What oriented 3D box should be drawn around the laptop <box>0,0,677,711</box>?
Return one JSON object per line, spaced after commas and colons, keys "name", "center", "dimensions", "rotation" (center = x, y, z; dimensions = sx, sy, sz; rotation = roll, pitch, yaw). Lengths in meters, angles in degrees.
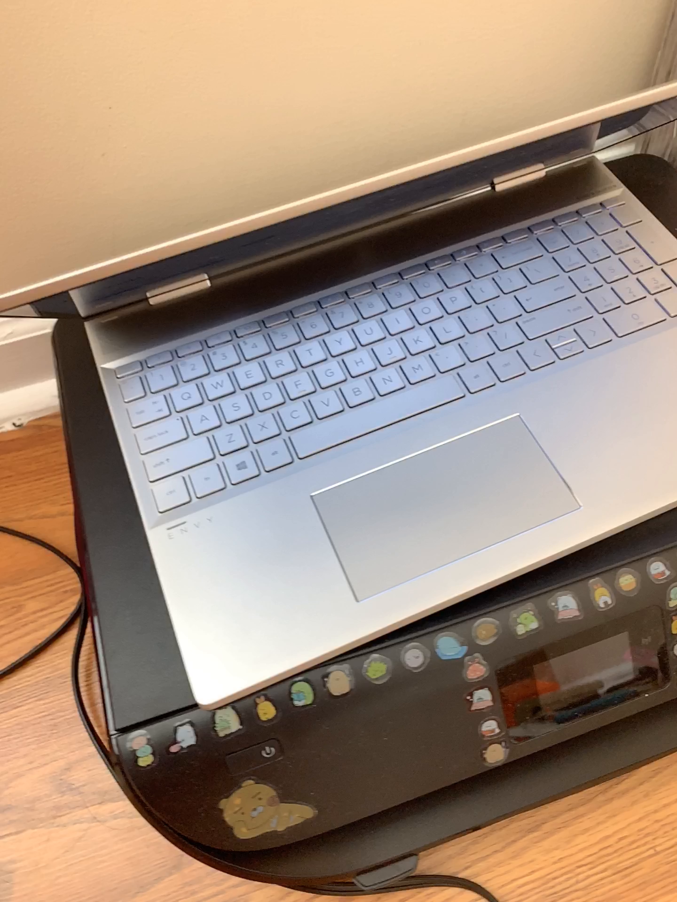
{"name": "laptop", "center": [0.053, -0.088, 0.309], "dimensions": [0.350, 0.169, 0.237], "rotation": [-21, 60, -9]}
